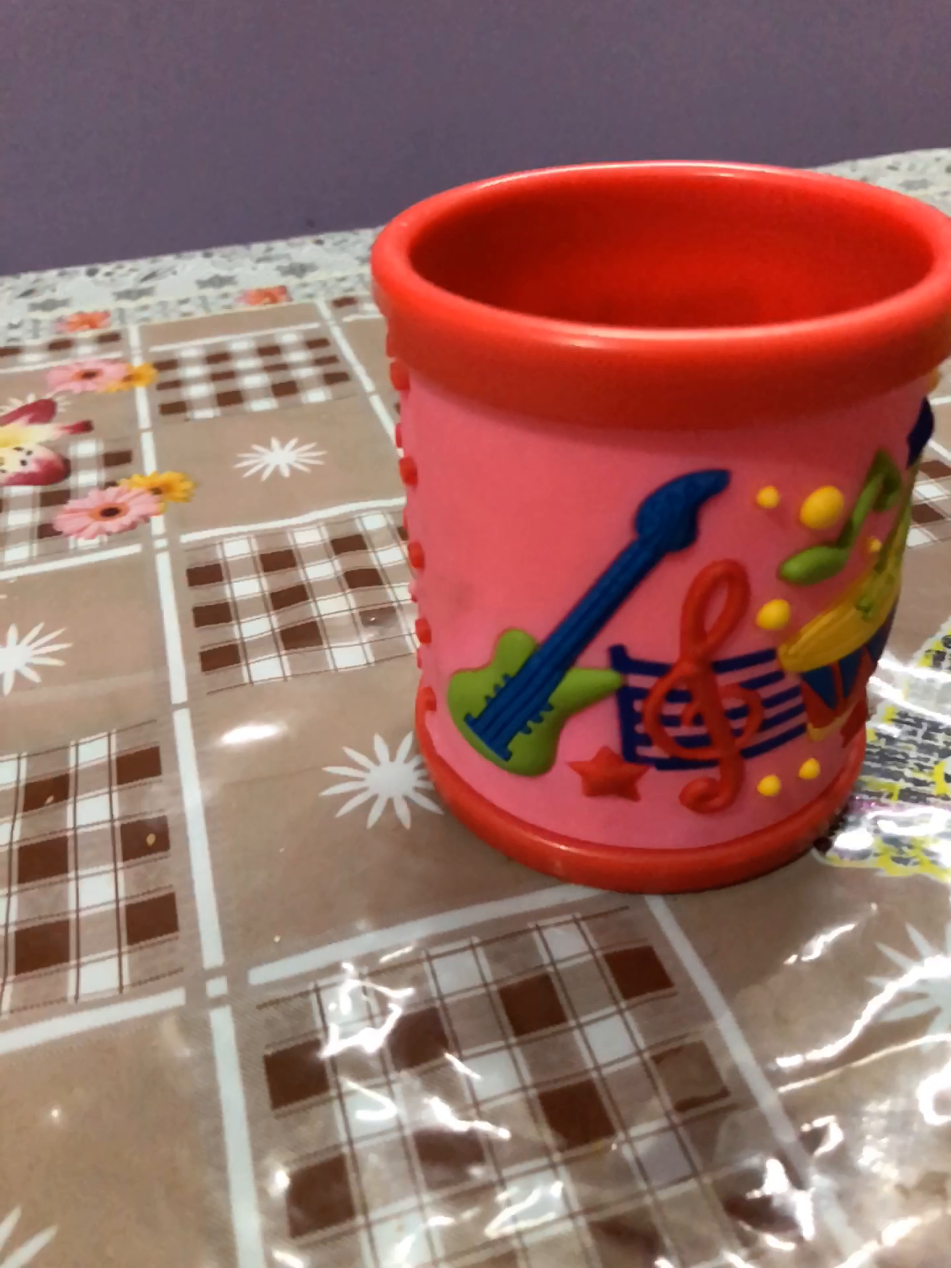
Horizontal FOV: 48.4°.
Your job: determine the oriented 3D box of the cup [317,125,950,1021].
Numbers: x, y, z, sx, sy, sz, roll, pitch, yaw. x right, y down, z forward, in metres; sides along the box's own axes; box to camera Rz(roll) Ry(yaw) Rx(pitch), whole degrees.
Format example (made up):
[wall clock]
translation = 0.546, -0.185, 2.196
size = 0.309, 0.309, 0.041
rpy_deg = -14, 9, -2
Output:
[cup]
translation = 0.032, -0.016, 0.170
size = 0.080, 0.099, 0.080
rpy_deg = -2, 36, 1
